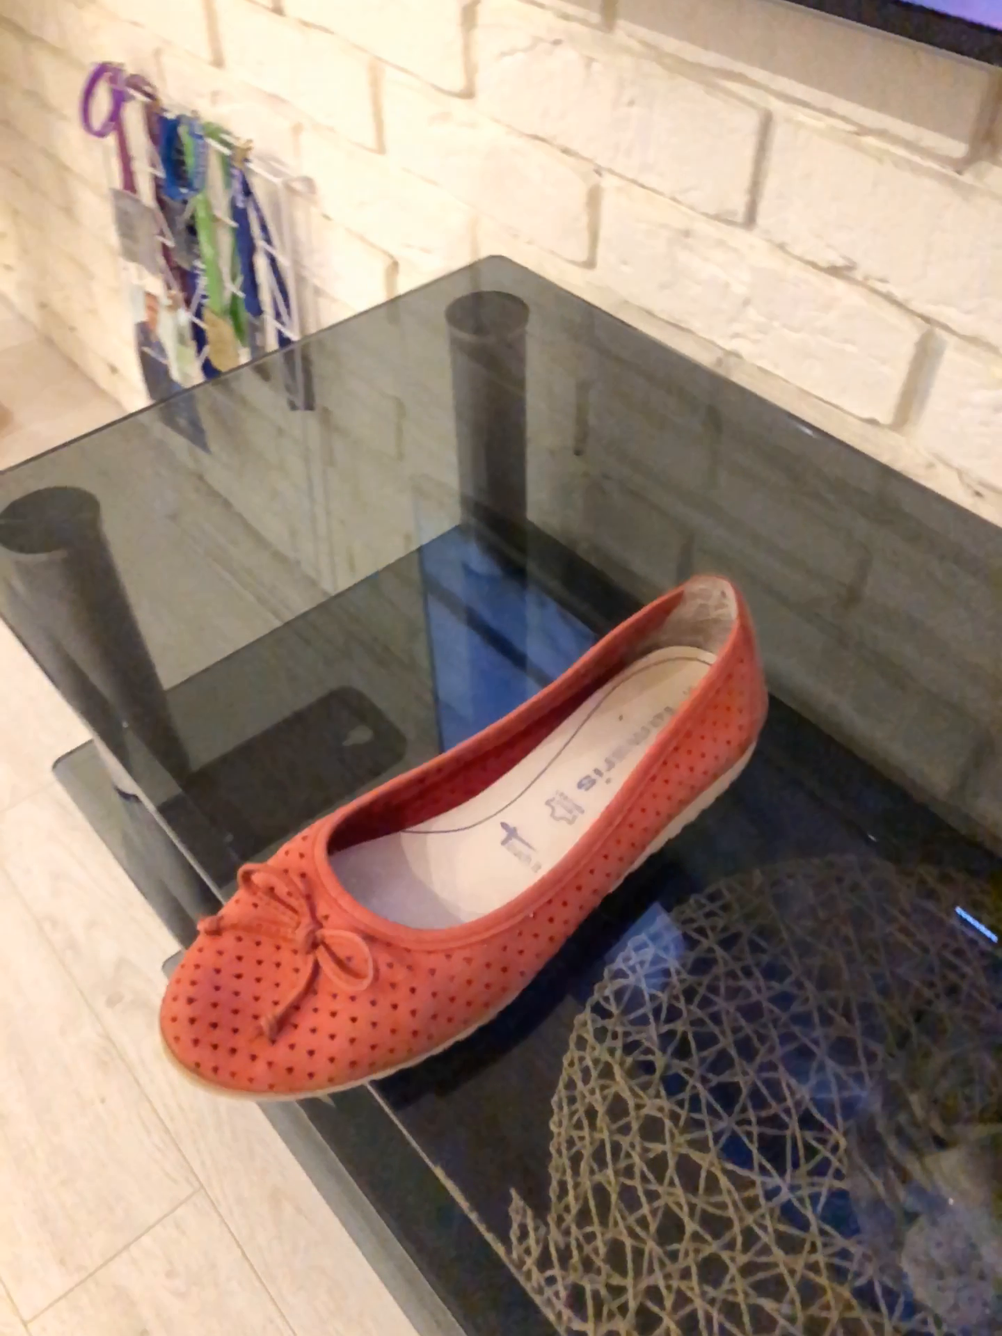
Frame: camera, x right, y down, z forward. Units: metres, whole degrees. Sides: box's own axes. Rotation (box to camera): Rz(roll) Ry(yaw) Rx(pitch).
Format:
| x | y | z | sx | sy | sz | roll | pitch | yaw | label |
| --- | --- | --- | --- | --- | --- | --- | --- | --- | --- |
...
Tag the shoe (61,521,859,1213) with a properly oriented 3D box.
| x | y | z | sx | sy | sz | roll | pitch | yaw | label |
| --- | --- | --- | --- | --- | --- | --- | --- | --- | --- |
| -0.002 | 0.053 | 0.376 | 0.248 | 0.079 | 0.090 | -30 | 54 | -25 | shoe |
